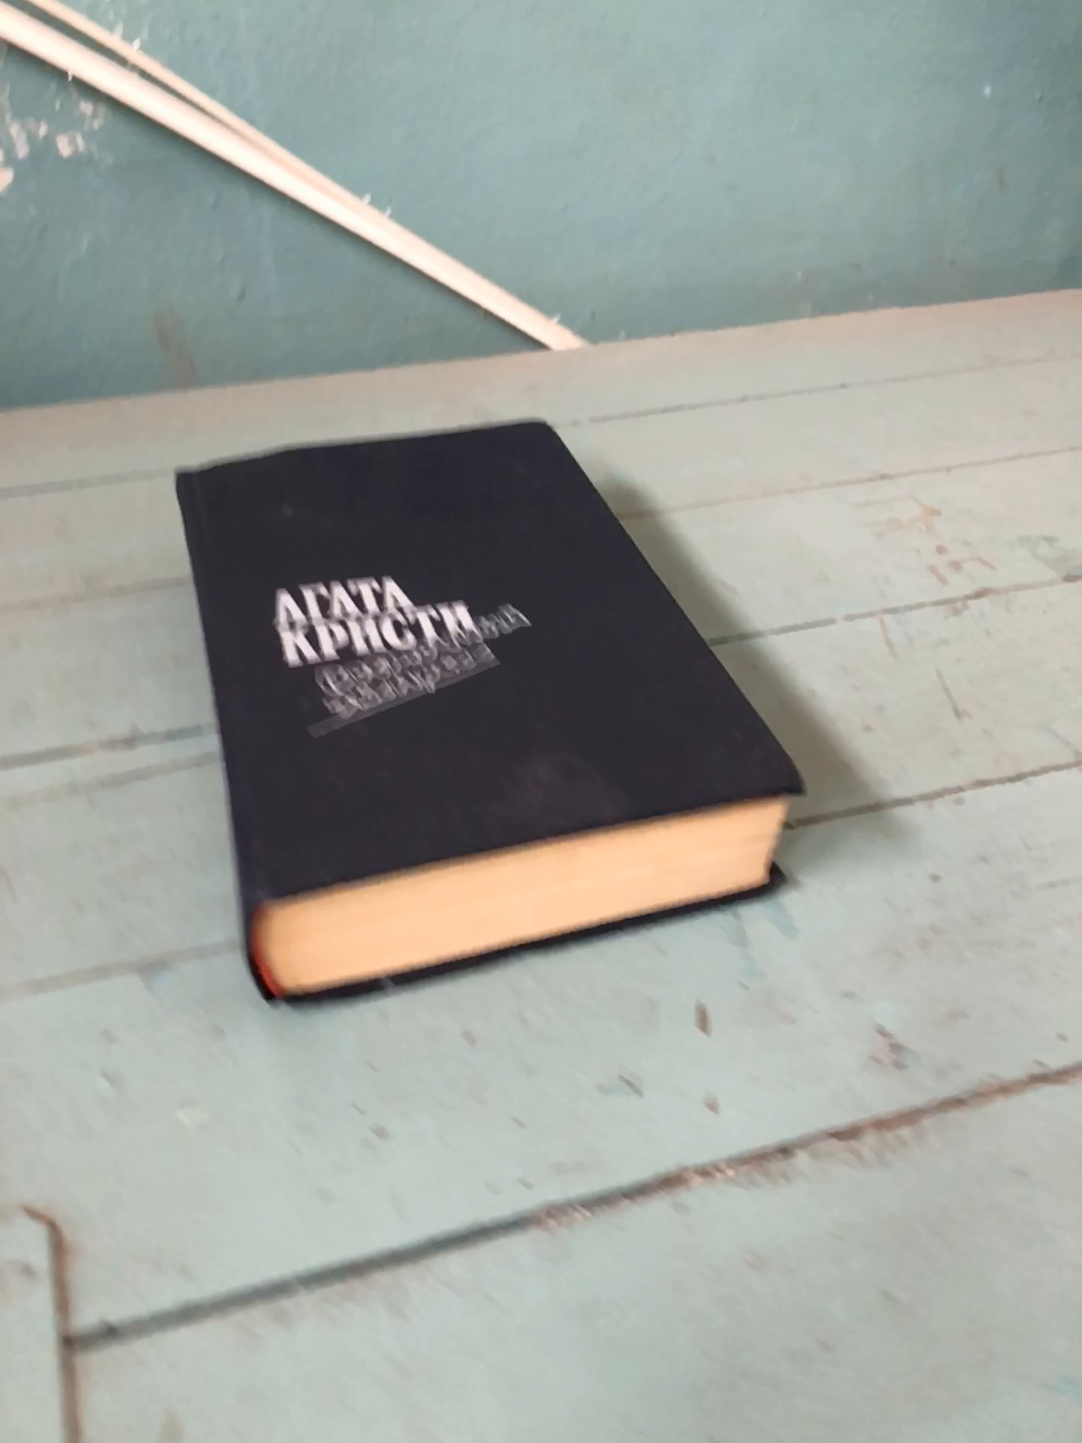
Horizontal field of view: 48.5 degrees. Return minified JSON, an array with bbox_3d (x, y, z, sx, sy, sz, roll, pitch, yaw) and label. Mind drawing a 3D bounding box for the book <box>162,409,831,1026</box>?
[{"bbox_3d":[-0.030,-0.022,0.356,0.138,0.040,0.211,-11,40,-14],"label":"book"}]
